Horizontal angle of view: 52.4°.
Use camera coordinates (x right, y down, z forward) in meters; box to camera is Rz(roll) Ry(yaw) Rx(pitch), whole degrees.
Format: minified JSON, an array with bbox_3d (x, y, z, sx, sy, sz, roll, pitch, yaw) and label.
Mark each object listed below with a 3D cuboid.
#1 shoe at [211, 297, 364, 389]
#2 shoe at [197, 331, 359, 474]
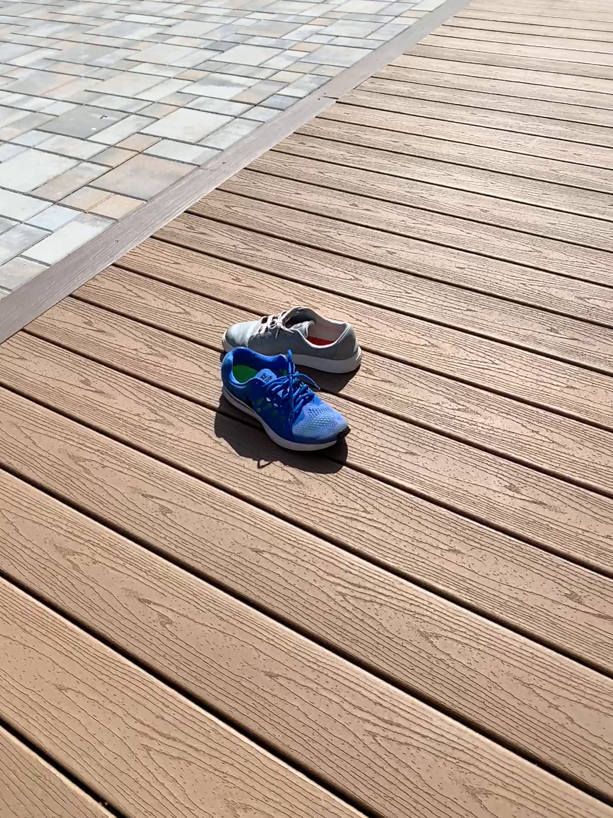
[{"bbox_3d":[-0.033,-0.135,1.256,0.280,0.110,0.110,8,46,12],"label":"shoe"},{"bbox_3d":[-0.052,-0.019,1.092,0.281,0.090,0.110,32,55,30],"label":"shoe"}]
